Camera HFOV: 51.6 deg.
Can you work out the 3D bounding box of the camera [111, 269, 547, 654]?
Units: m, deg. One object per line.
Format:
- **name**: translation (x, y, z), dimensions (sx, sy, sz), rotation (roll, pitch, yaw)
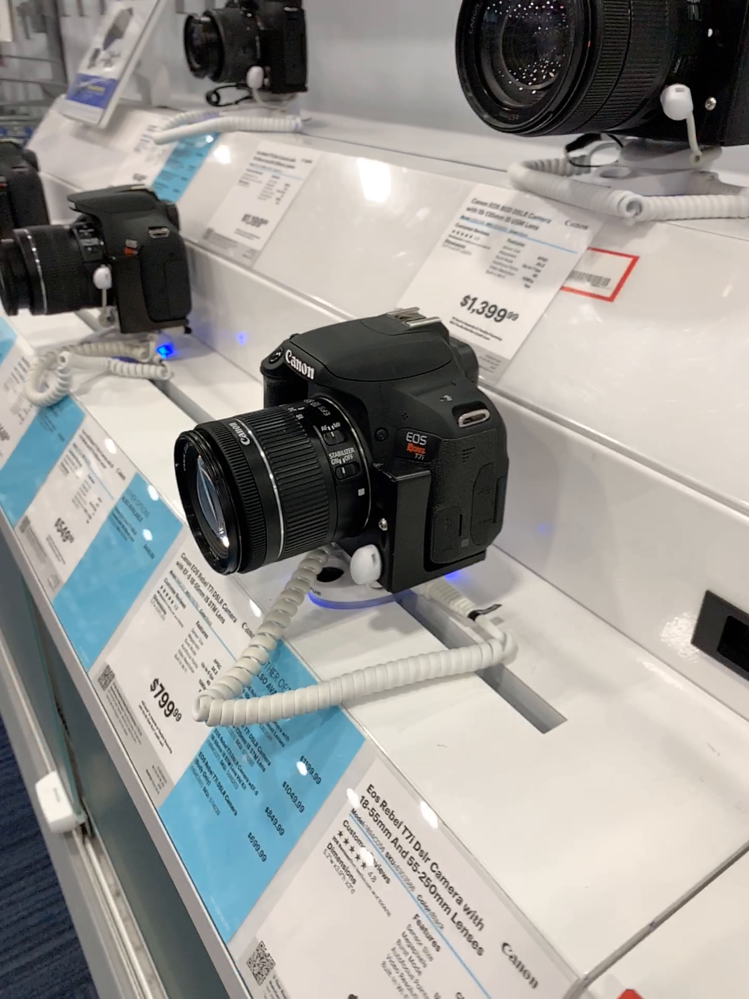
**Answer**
- **camera**: translation (-0.026, -0.031, 0.351), dimensions (0.130, 0.099, 0.141), rotation (-17, 35, -30)
